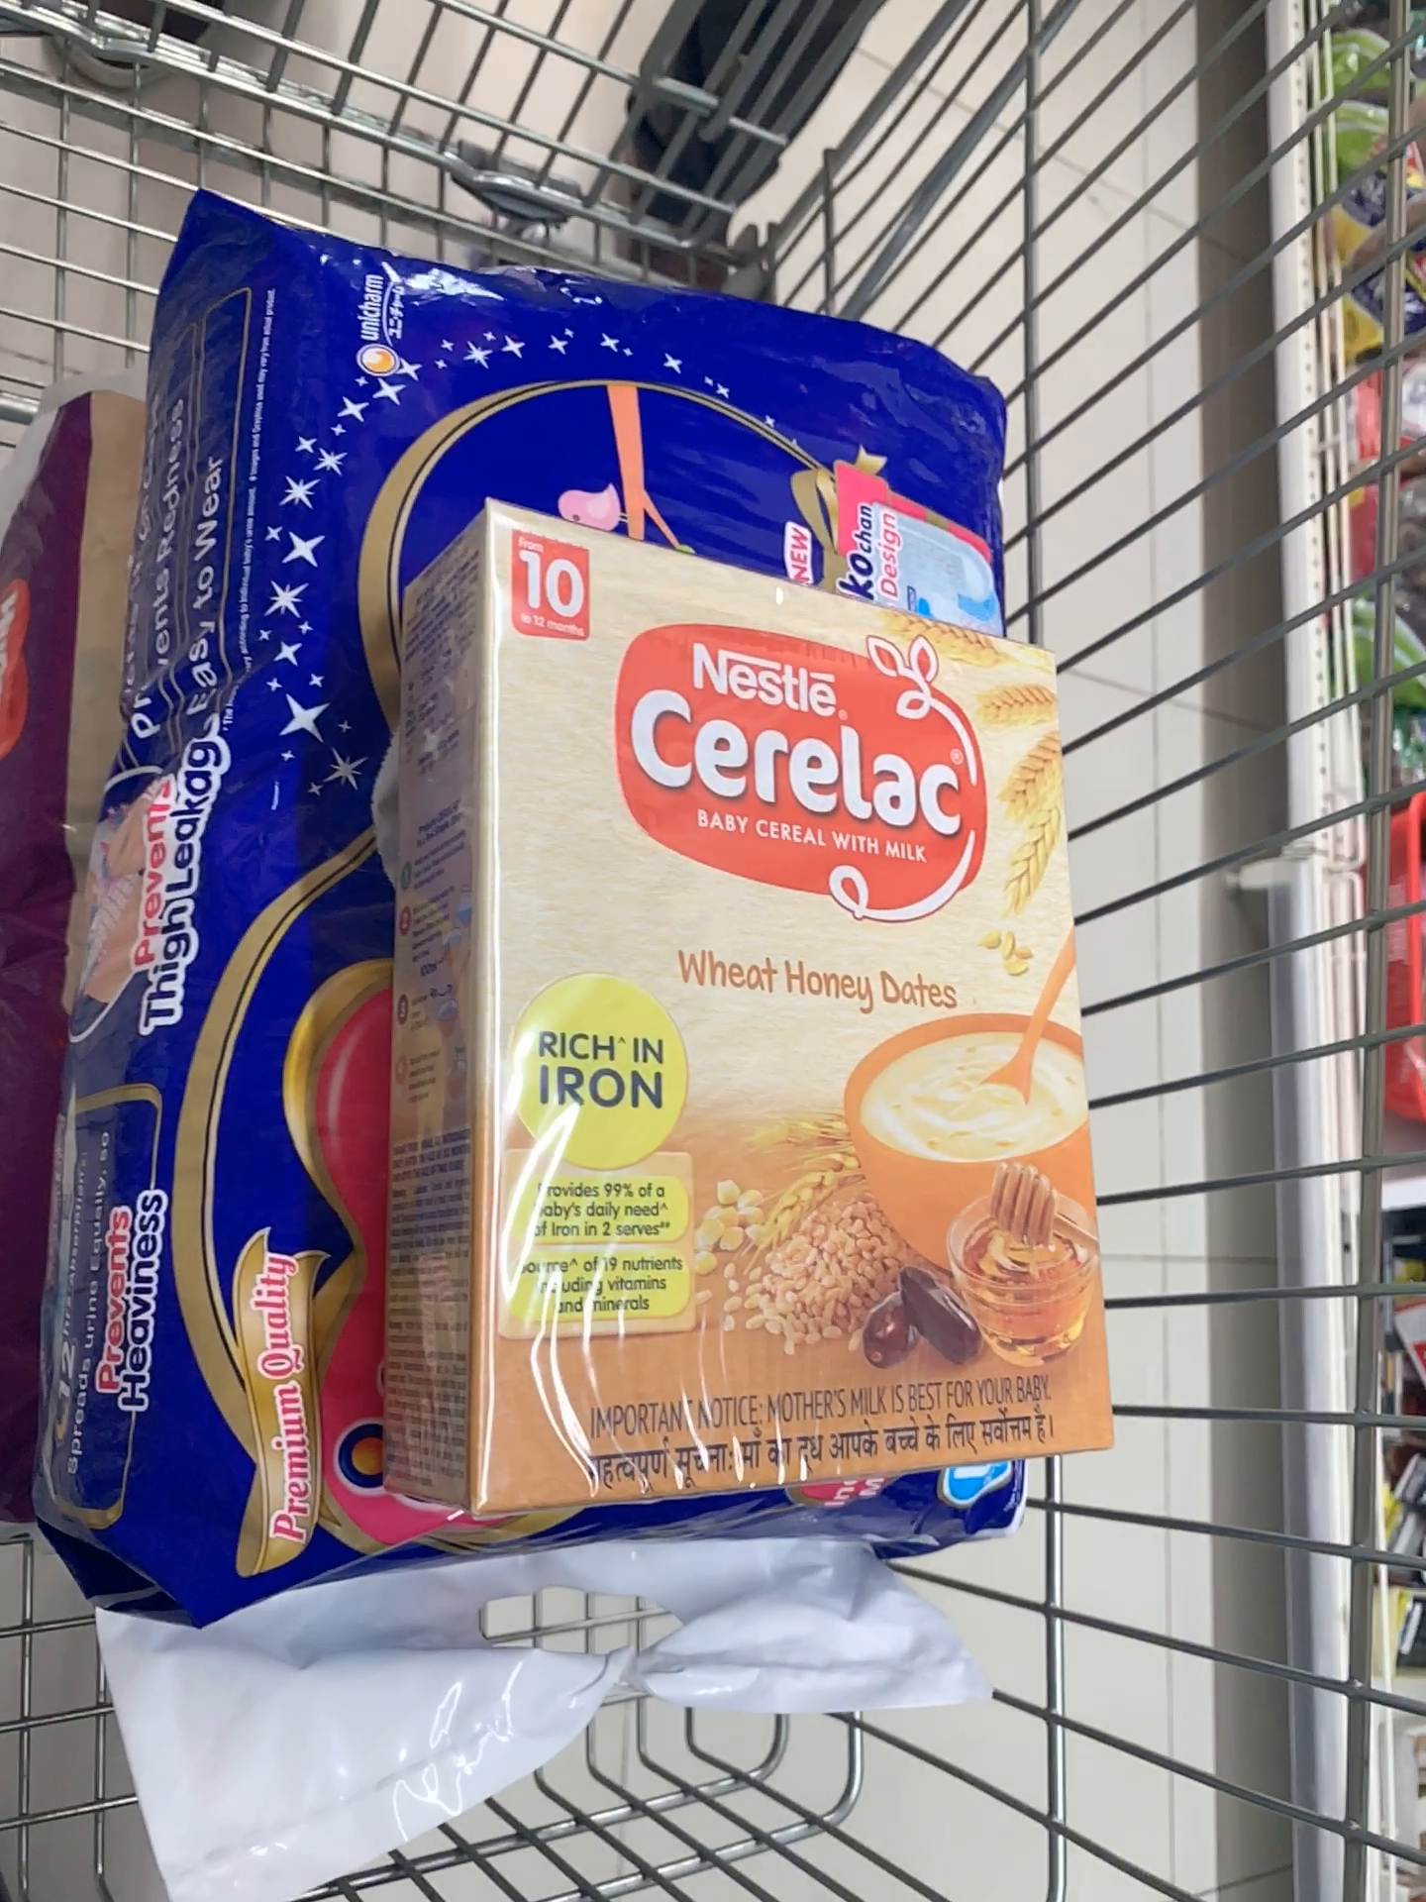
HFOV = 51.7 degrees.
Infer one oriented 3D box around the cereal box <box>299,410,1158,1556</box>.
[{"bbox_3d":[0.006,0.010,0.306,0.160,0.060,0.190,6,76,-31],"label":"cereal box"}]
